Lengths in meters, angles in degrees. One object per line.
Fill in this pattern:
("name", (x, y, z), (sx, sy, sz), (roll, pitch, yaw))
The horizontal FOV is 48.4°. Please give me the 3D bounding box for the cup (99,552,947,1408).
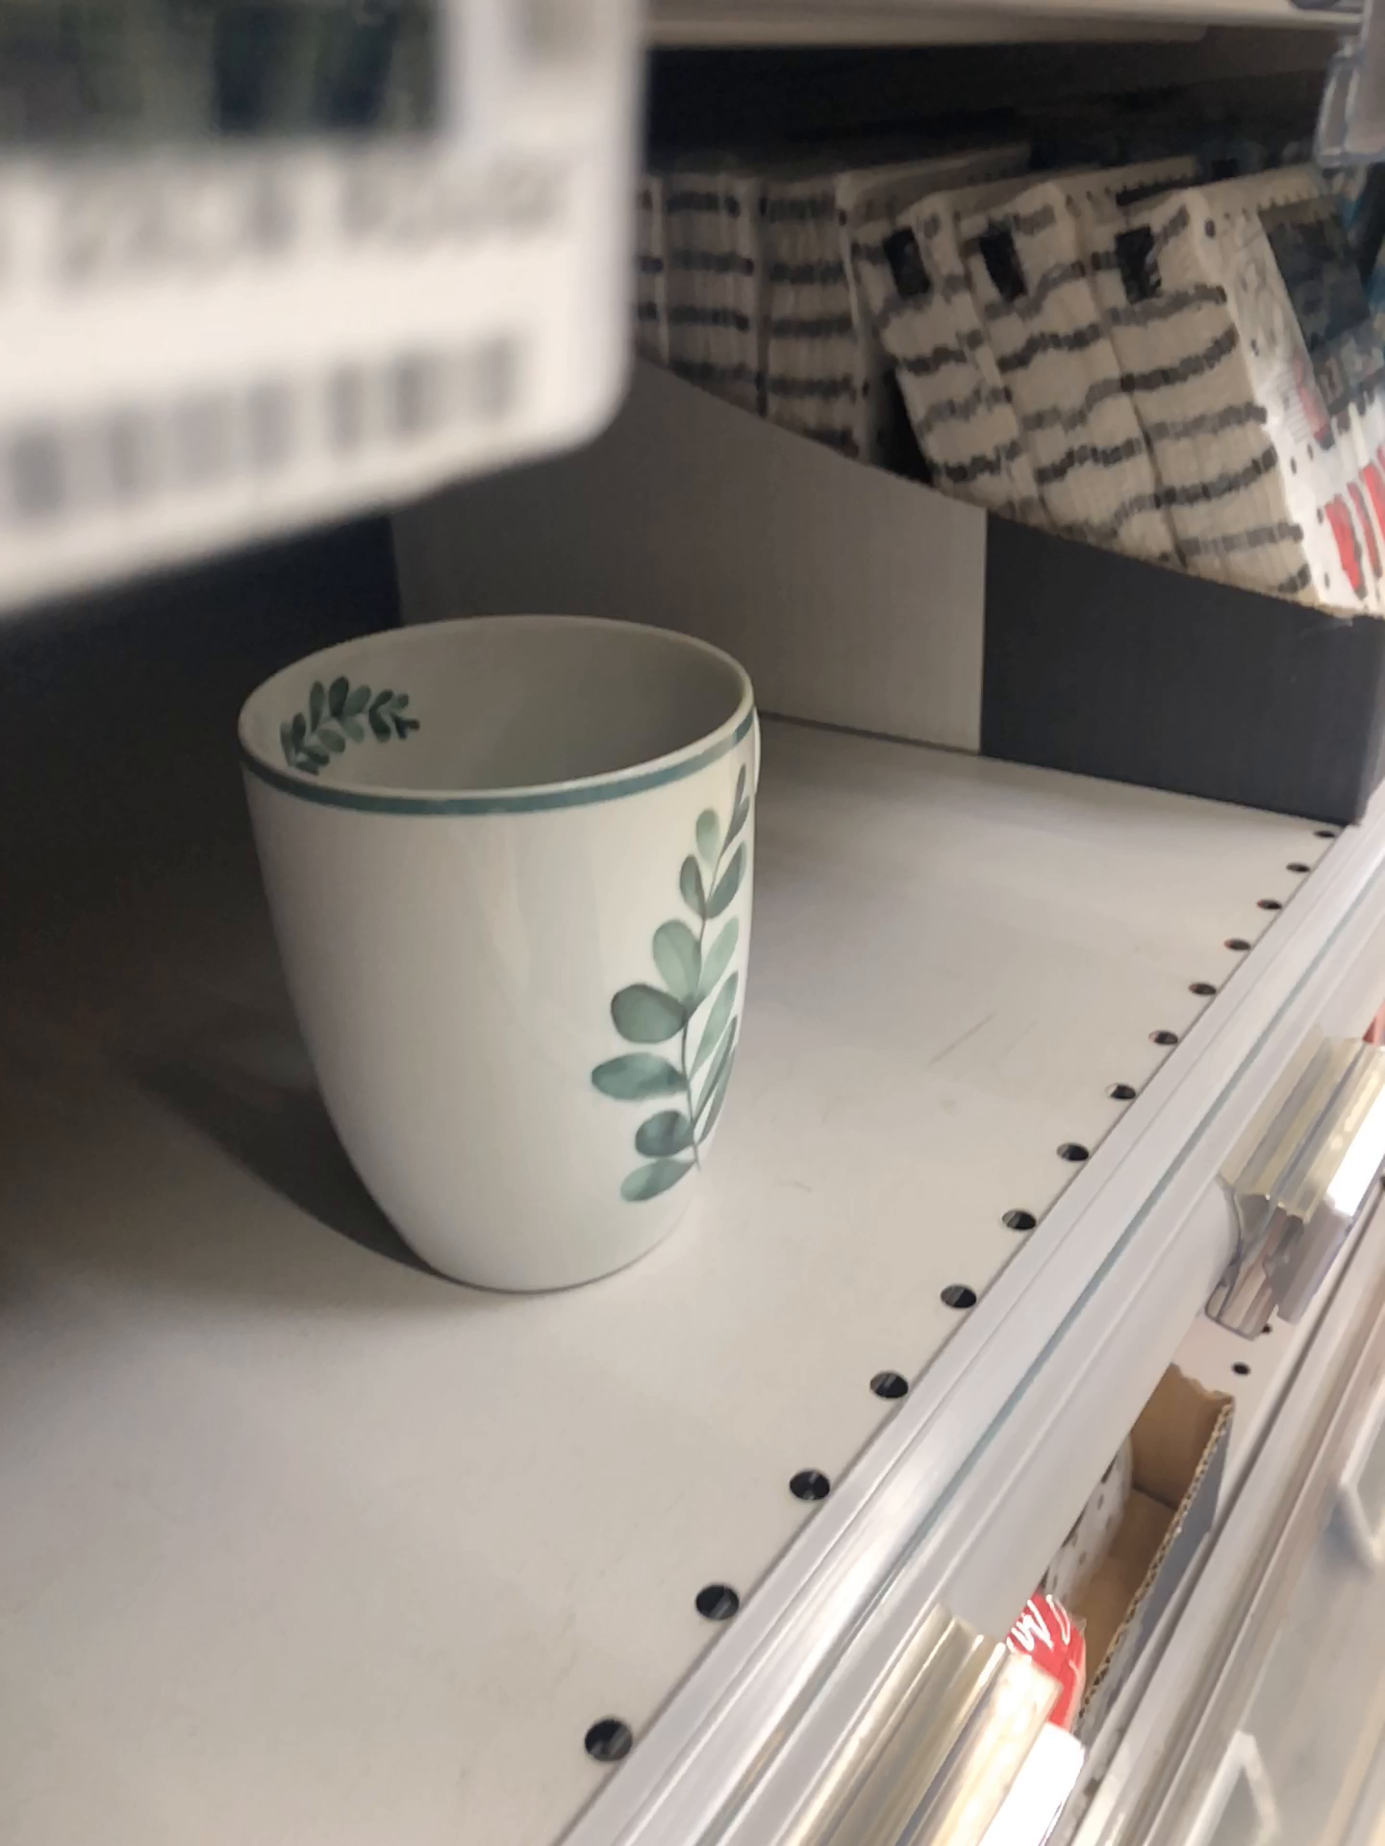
("cup", (-0.022, -0.001, 0.276), (0.082, 0.093, 0.117), (19, 34, 32))
